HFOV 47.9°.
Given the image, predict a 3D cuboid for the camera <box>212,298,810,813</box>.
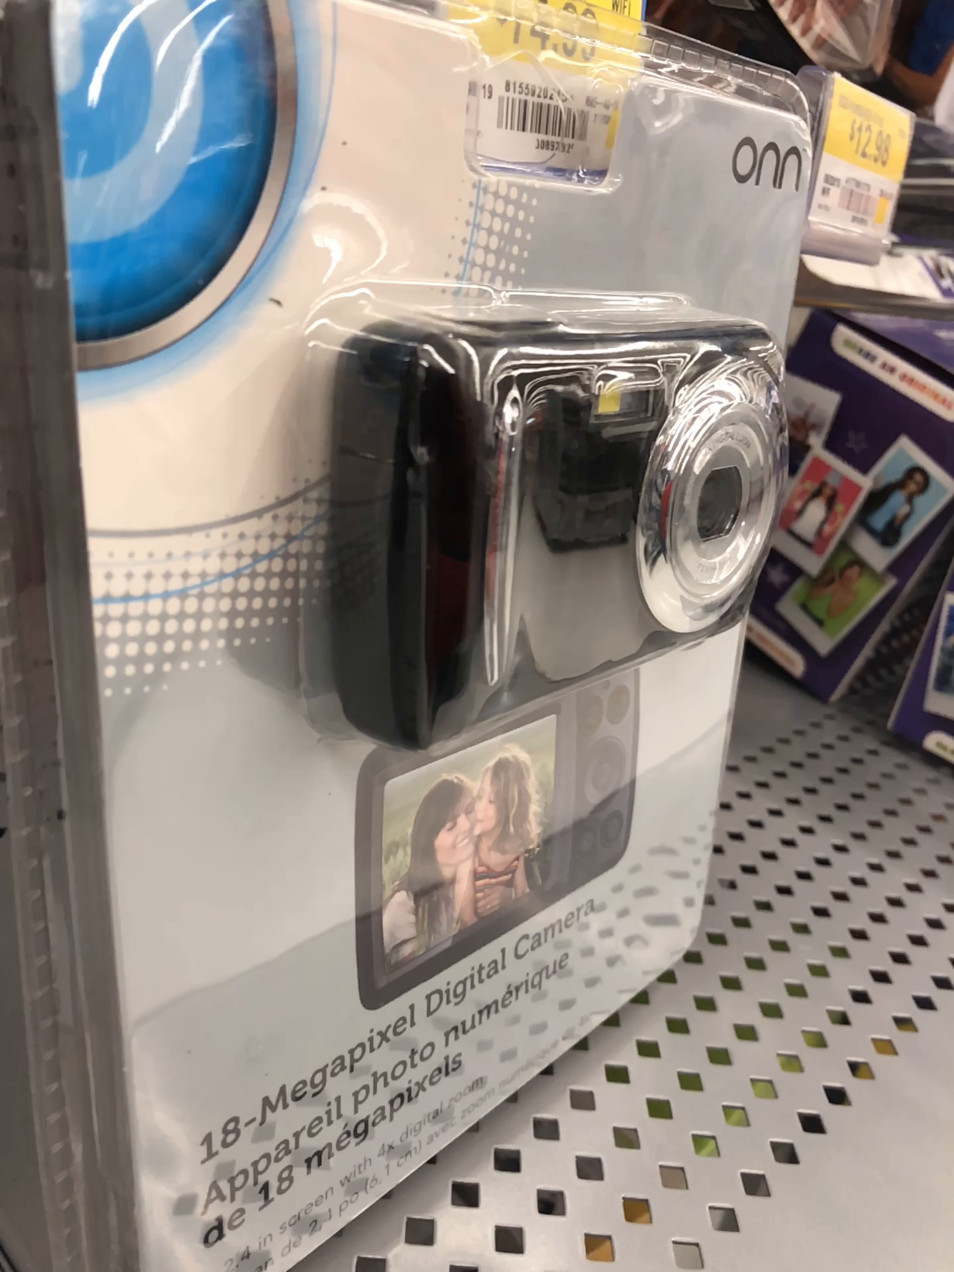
[{"bbox_3d":[0.010,-0.021,0.170,0.030,0.060,0.100,22,27,39],"label":"camera"}]
